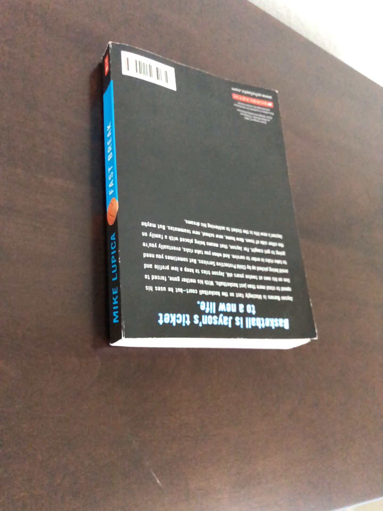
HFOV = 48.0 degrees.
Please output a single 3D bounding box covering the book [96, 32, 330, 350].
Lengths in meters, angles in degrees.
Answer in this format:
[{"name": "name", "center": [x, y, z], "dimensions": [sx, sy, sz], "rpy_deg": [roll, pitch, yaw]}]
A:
[{"name": "book", "center": [0.011, -0.040, 0.292], "dimensions": [0.141, 0.036, 0.198], "rpy_deg": [7, 66, -30]}]
